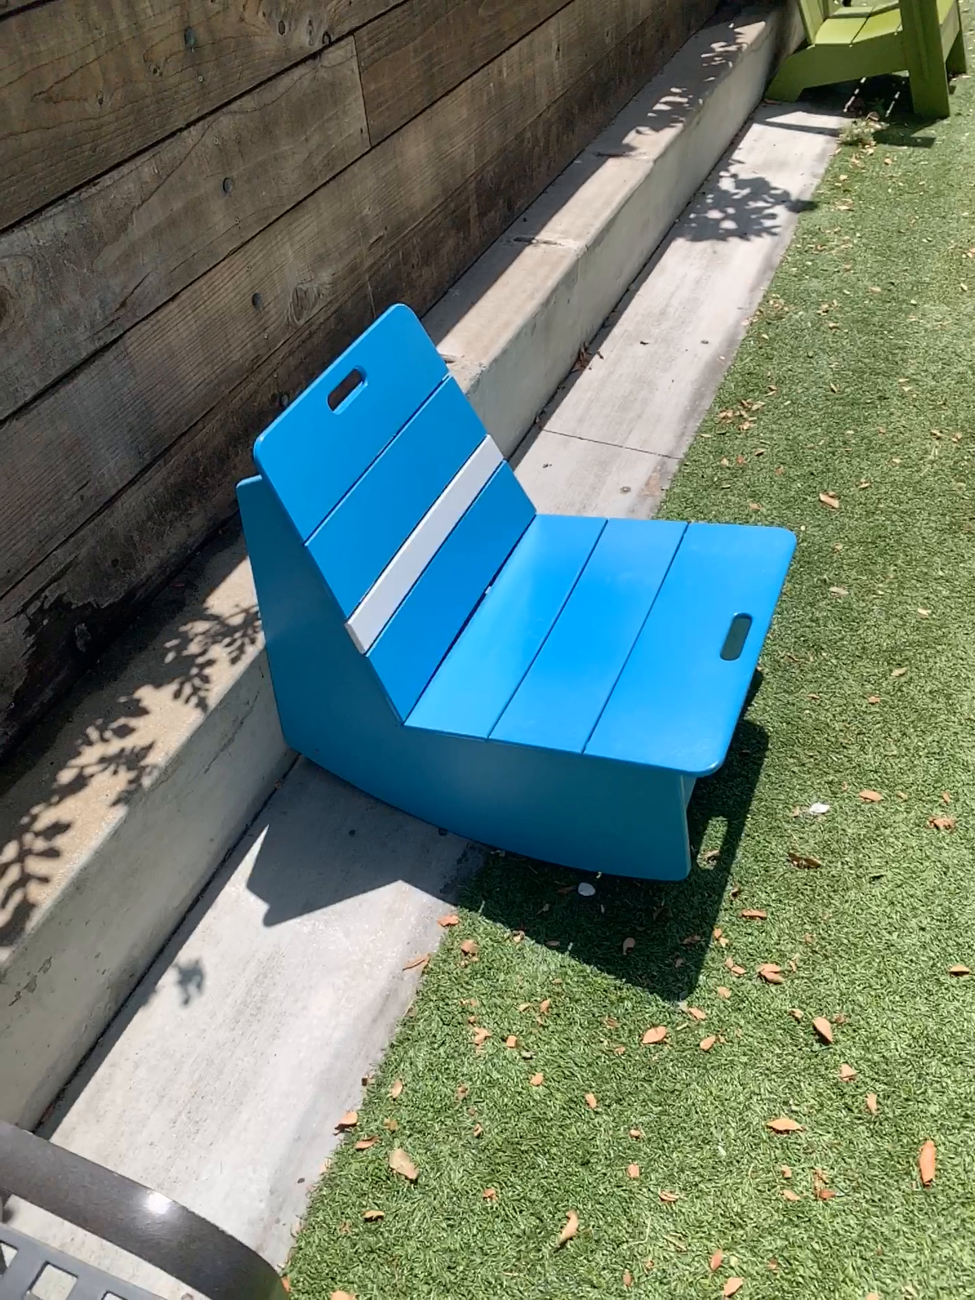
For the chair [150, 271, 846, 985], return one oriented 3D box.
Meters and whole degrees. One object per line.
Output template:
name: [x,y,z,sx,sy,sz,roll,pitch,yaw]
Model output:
chair: [0.049,-0.049,1.559,0.721,0.746,0.592,18,49,19]
